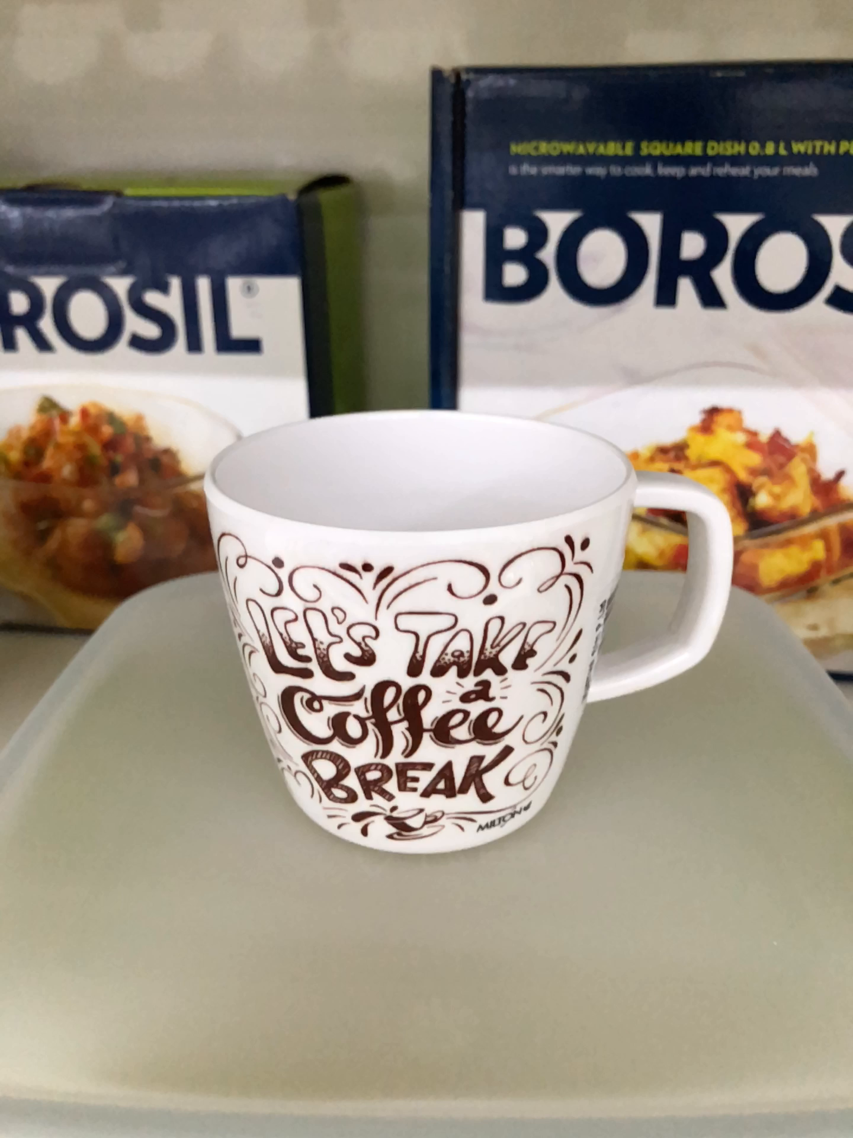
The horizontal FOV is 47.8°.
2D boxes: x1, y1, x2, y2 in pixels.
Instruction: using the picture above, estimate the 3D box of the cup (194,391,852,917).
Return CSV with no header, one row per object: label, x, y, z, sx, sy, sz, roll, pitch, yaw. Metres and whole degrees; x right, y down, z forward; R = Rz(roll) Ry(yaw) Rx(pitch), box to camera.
cup,0.015,0.010,0.182,0.100,0.070,0.070,-2,23,-5
